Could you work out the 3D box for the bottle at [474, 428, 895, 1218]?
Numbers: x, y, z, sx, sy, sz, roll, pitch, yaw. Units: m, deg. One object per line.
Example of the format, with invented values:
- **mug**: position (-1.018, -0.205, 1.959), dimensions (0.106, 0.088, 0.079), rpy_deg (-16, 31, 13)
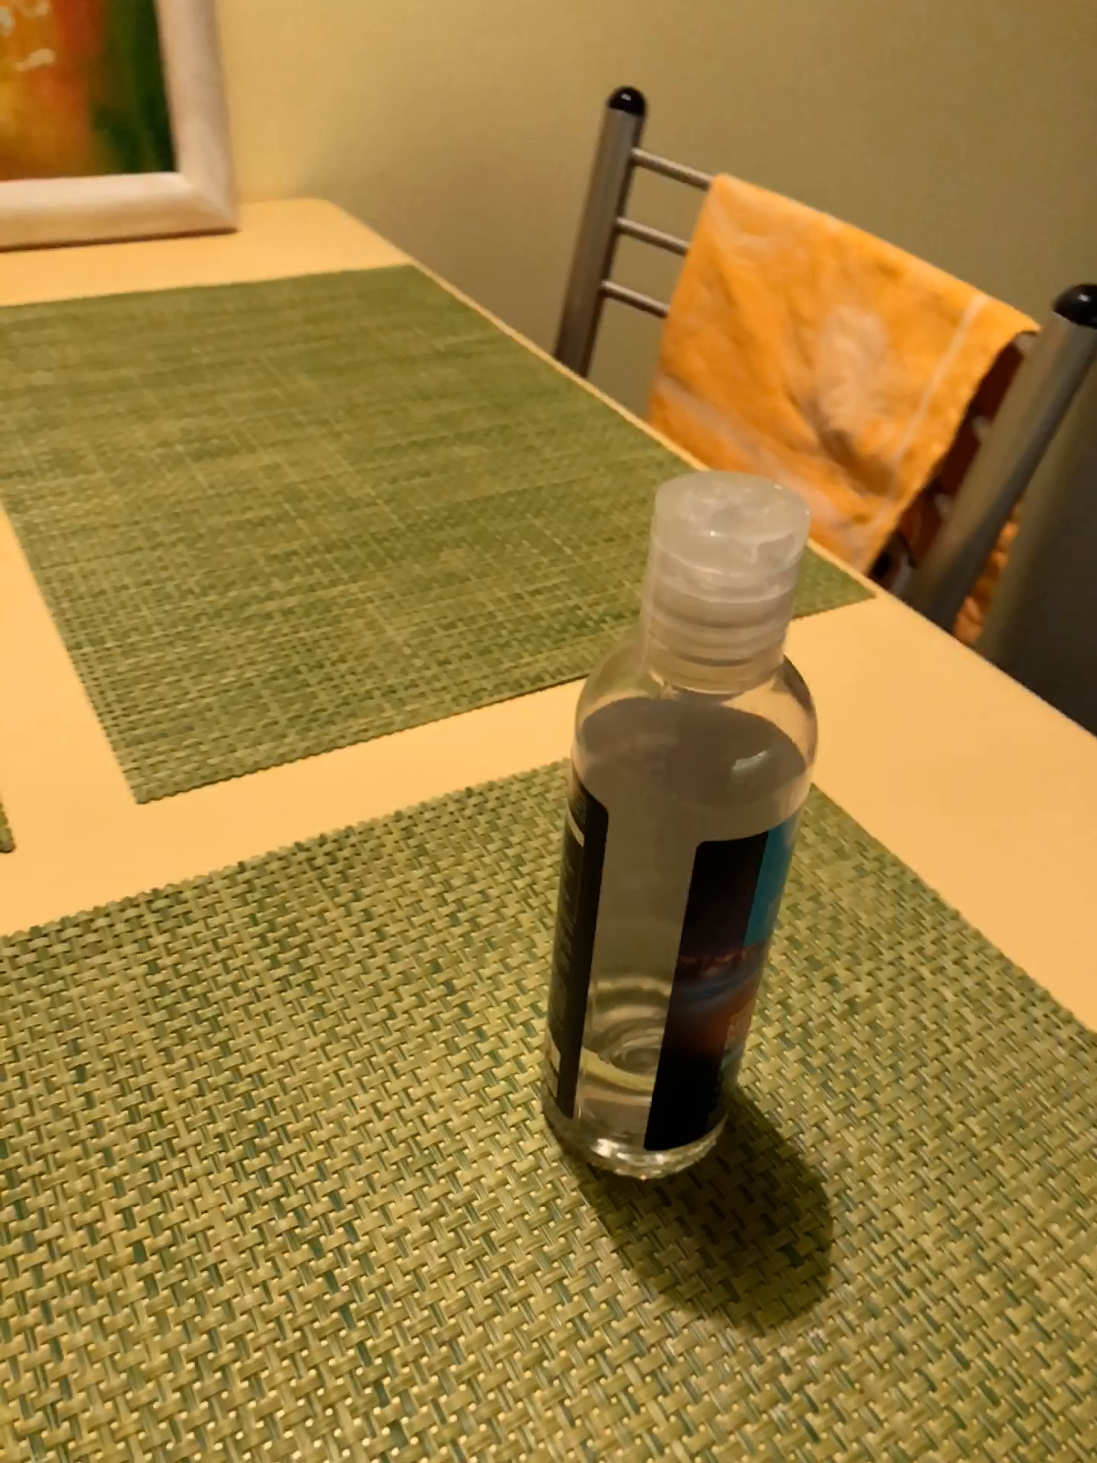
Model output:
- **bottle**: position (0.022, 0.025, 0.241), dimensions (0.054, 0.149, 0.051), rpy_deg (4, 37, -3)
